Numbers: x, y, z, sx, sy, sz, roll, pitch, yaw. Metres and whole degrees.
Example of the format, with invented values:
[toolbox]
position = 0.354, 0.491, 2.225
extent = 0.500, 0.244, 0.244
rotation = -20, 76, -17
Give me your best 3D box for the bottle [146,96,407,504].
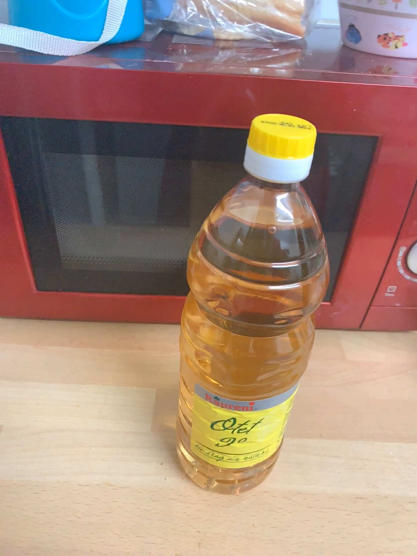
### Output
[bottle]
position = 0.020, 0.029, 0.249
extent = 0.090, 0.228, 0.081
rotation = 6, 37, 2
